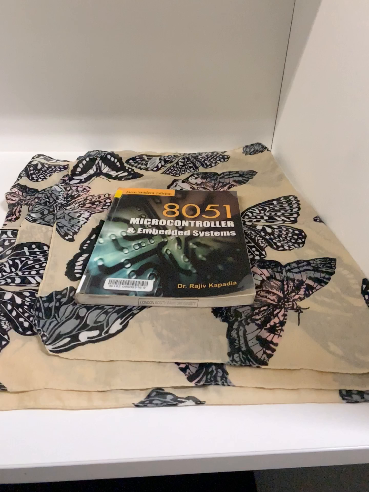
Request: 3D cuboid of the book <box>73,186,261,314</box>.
[{"bbox_3d":[-0.014,-0.011,0.472,0.183,0.020,0.238,2,34,1],"label":"book"}]
